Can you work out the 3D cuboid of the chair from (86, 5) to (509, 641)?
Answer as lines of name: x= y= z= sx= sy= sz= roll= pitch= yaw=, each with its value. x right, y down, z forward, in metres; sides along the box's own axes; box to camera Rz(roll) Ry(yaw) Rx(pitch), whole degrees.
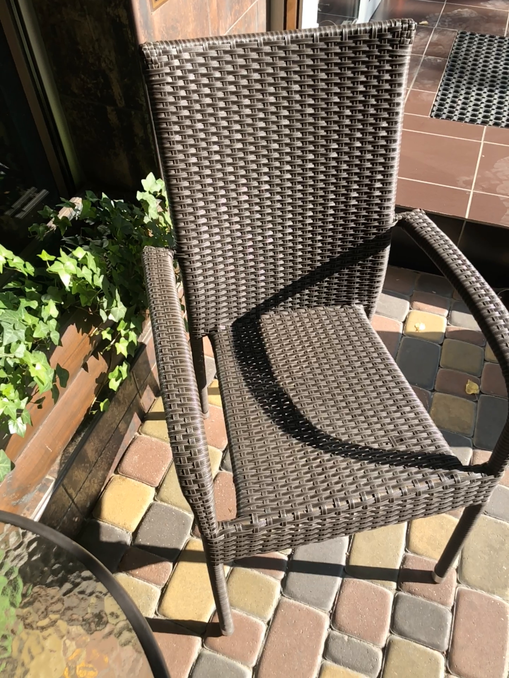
chair: x=0.087 y=0.033 z=0.939 sx=0.520 sy=0.847 sz=0.582 roll=-9 pitch=50 yaw=-7
